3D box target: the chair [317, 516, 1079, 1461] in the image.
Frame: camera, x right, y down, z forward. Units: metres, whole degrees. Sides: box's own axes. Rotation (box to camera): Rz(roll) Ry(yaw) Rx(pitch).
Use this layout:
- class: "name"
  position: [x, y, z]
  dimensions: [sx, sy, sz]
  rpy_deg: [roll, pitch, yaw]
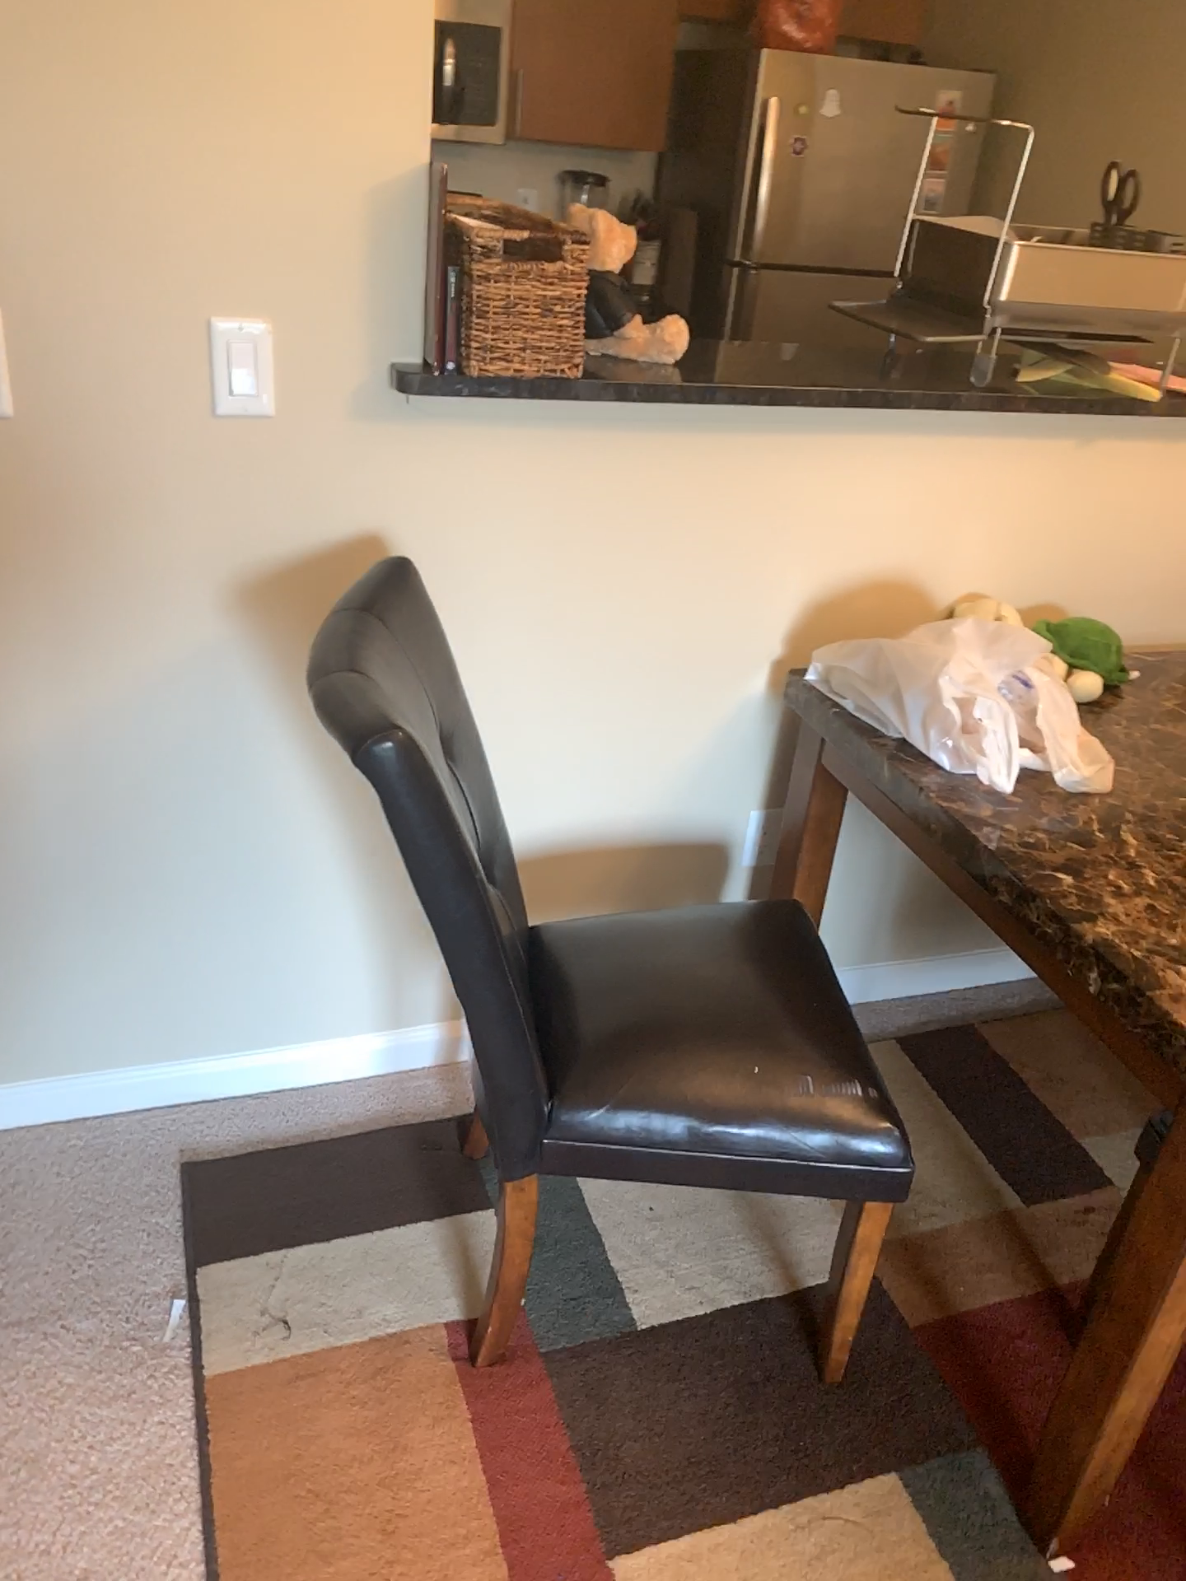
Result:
- class: "chair"
  position: [-0.002, 0.211, 1.677]
  dimensions: [0.730, 0.925, 0.815]
  rpy_deg: [0, 29, -12]
